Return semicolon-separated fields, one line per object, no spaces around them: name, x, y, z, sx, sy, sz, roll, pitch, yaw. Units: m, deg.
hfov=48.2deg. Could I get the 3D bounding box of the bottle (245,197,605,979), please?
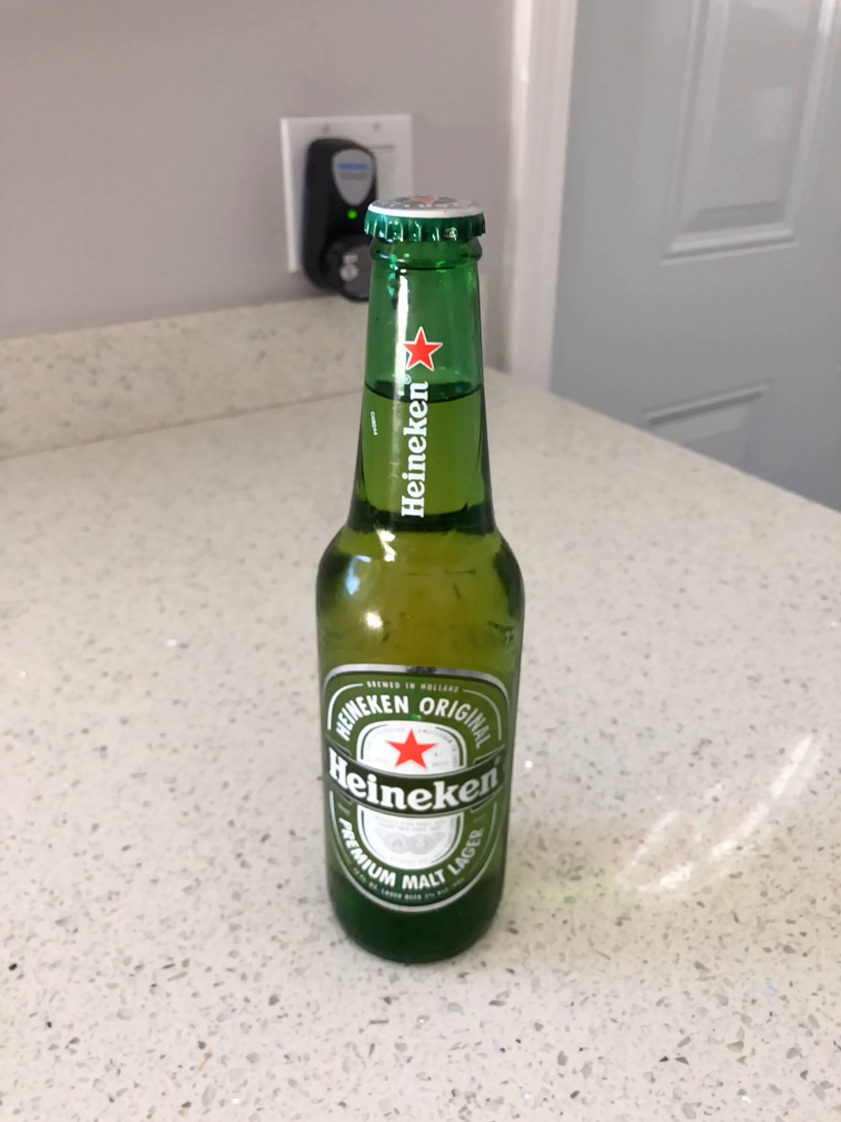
bottle;0.002;0.015;0.263;0.070;0.209;0.070;0;28;0
